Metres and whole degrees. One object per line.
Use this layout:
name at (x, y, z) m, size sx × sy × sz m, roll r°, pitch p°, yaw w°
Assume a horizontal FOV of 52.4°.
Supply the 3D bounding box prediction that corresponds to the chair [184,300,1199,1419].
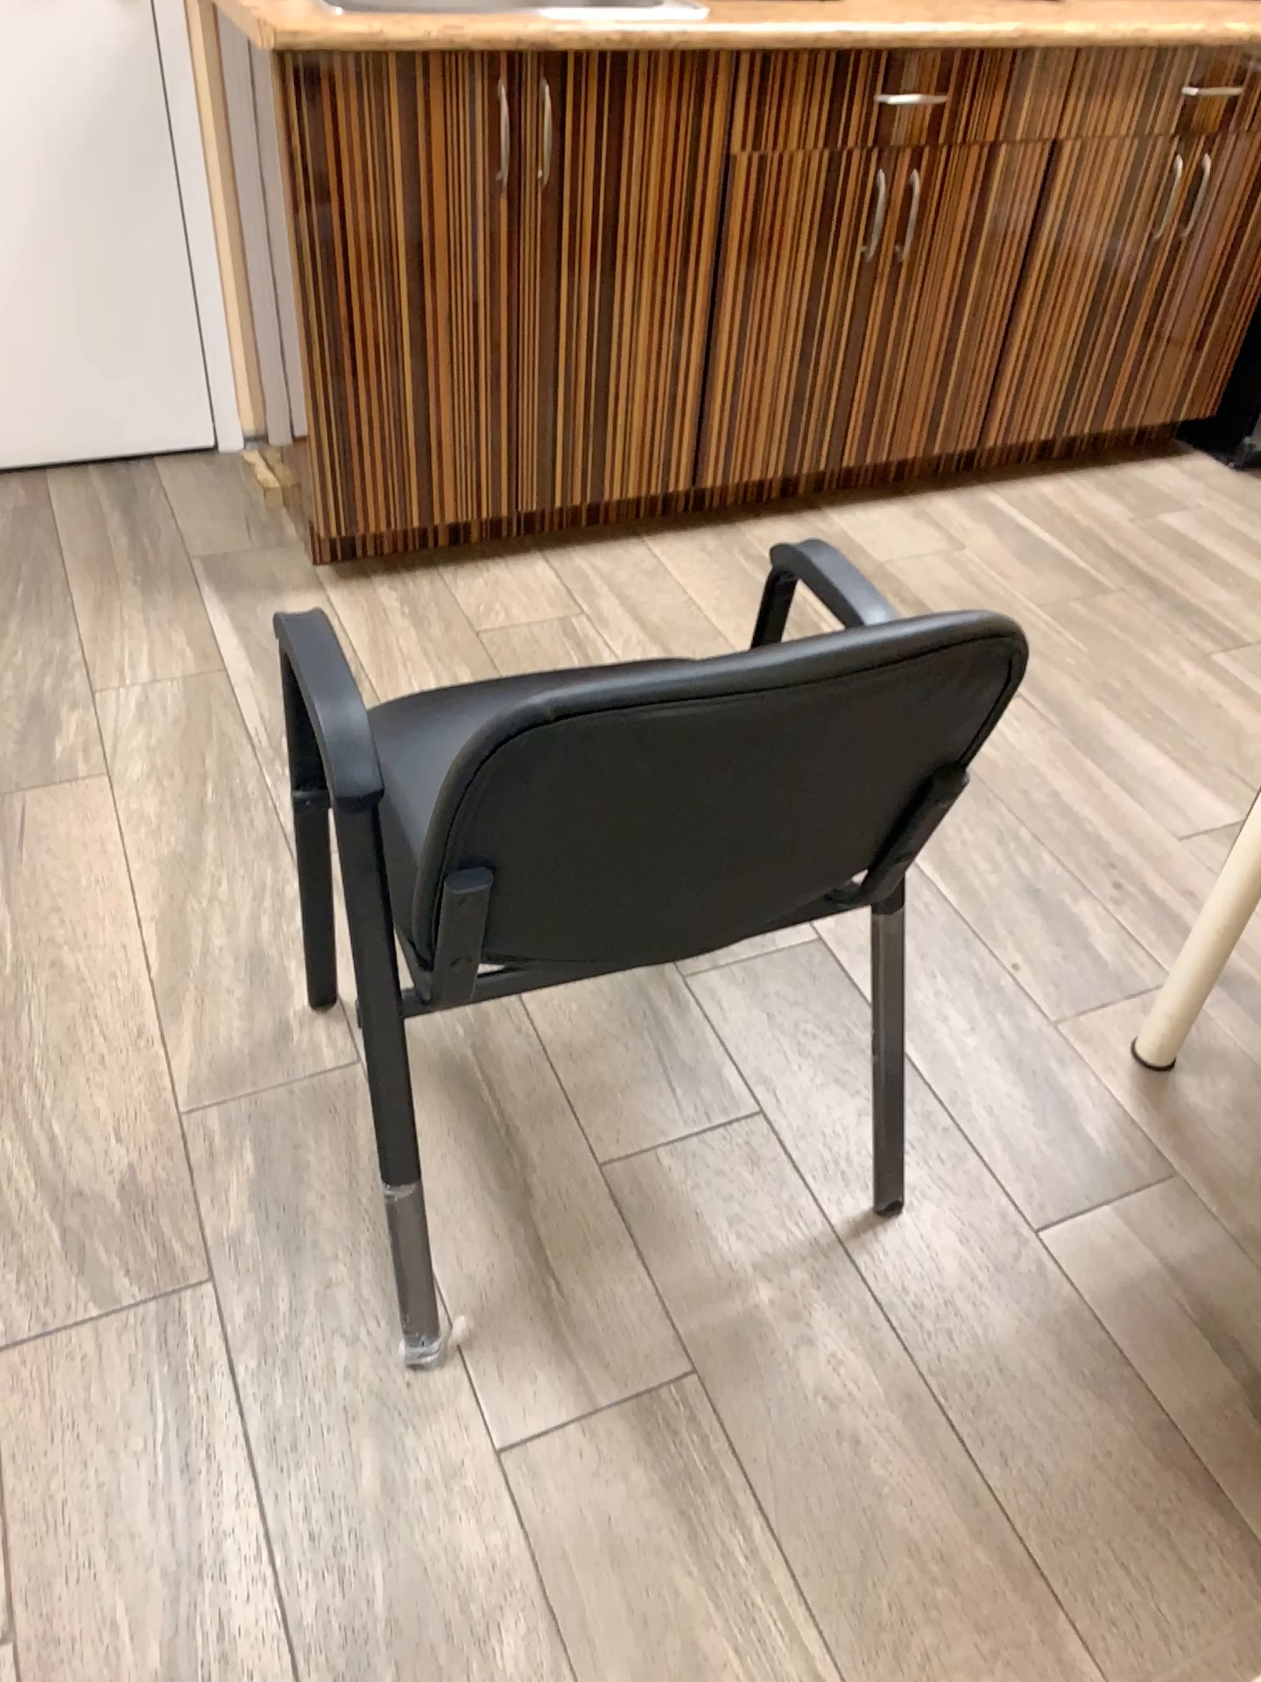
chair at (-0.024, -0.003, 1.280) m, size 0.607 × 0.795 × 0.626 m, roll -12°, pitch 44°, yaw -19°
